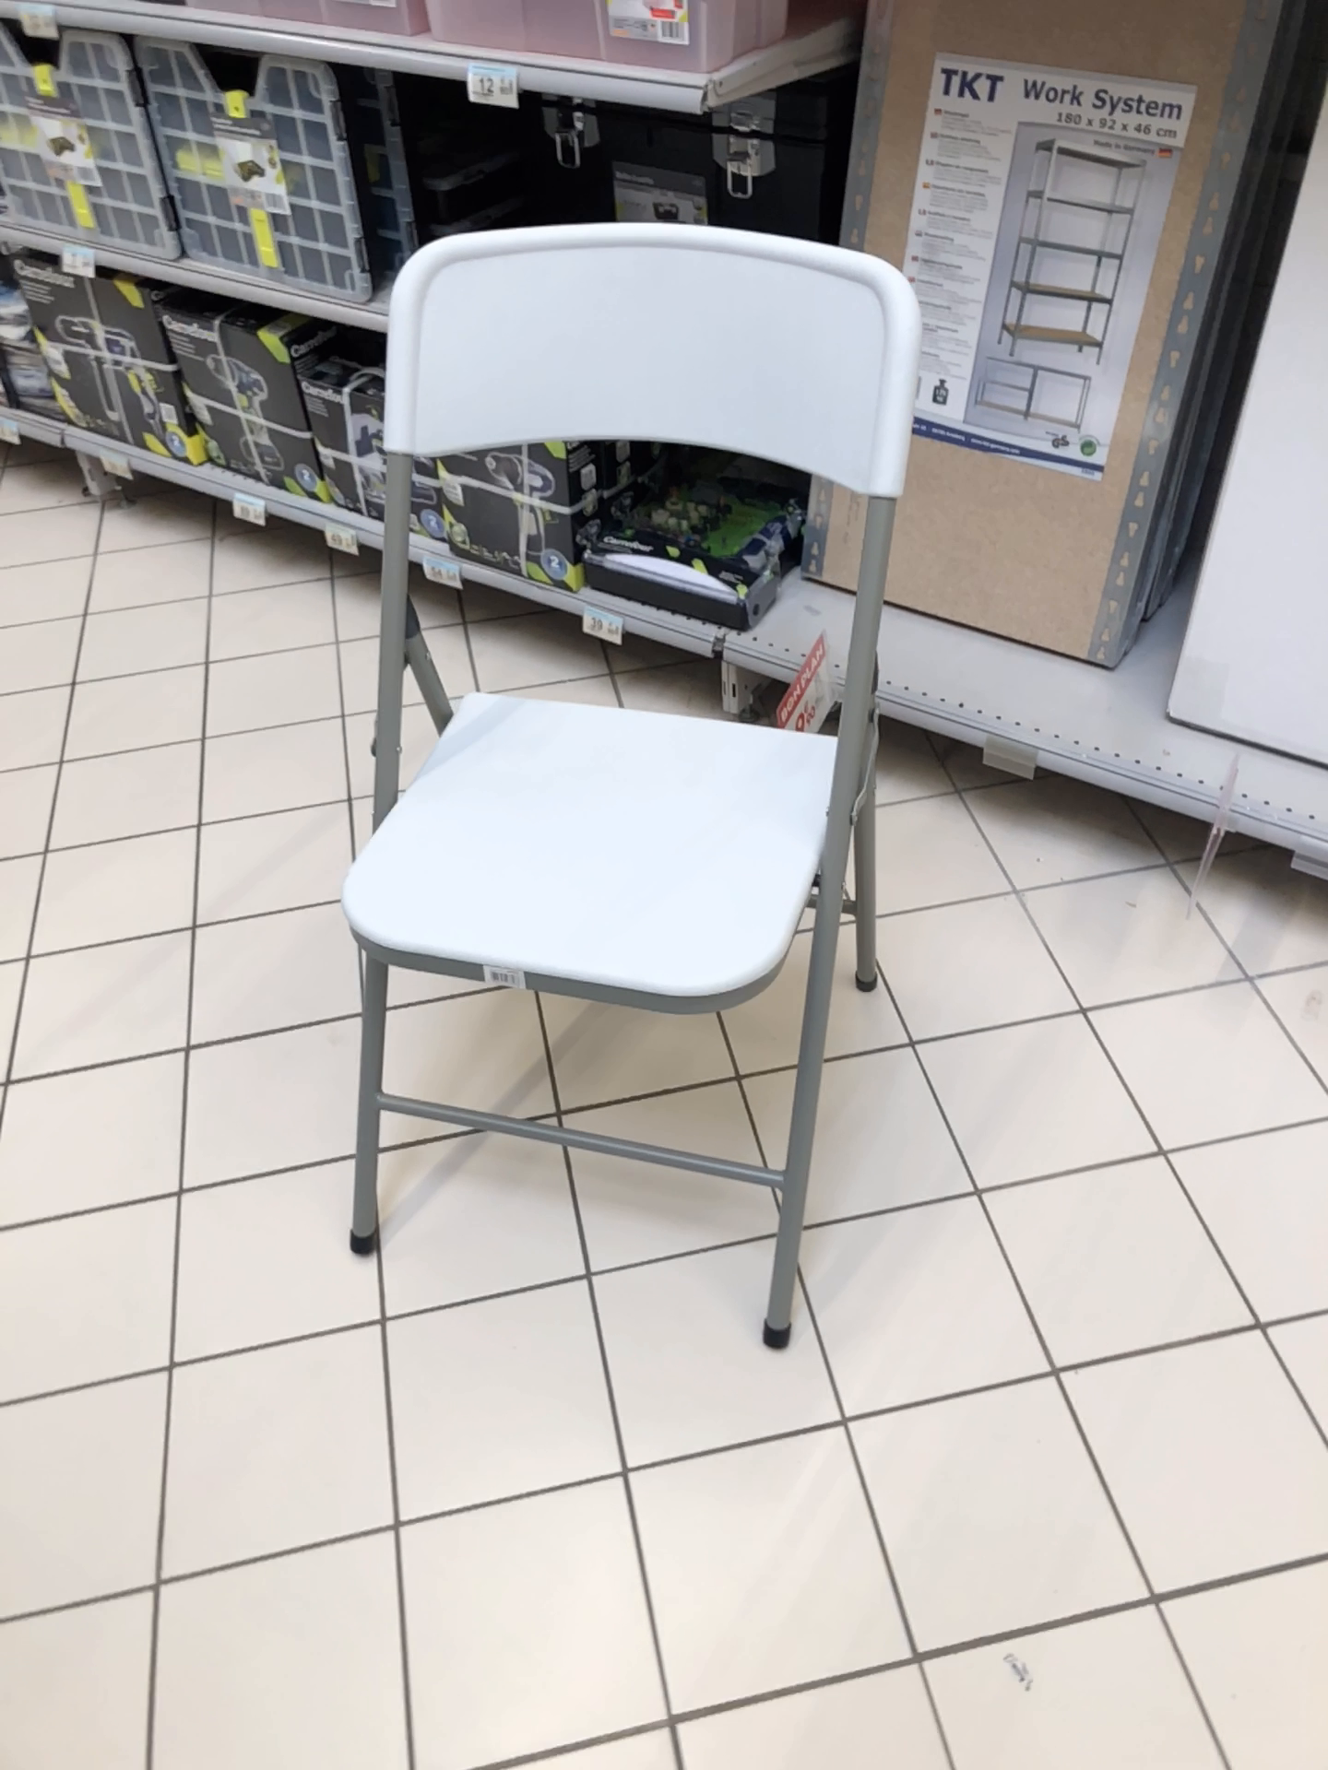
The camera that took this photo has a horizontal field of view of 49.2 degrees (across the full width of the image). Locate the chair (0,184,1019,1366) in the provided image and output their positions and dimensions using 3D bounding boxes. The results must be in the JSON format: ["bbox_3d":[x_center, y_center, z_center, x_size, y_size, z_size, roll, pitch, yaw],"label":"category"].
[{"bbox_3d":[-0.045,-0.097,1.229,0.540,0.746,0.564,9,44,14],"label":"chair"}]
